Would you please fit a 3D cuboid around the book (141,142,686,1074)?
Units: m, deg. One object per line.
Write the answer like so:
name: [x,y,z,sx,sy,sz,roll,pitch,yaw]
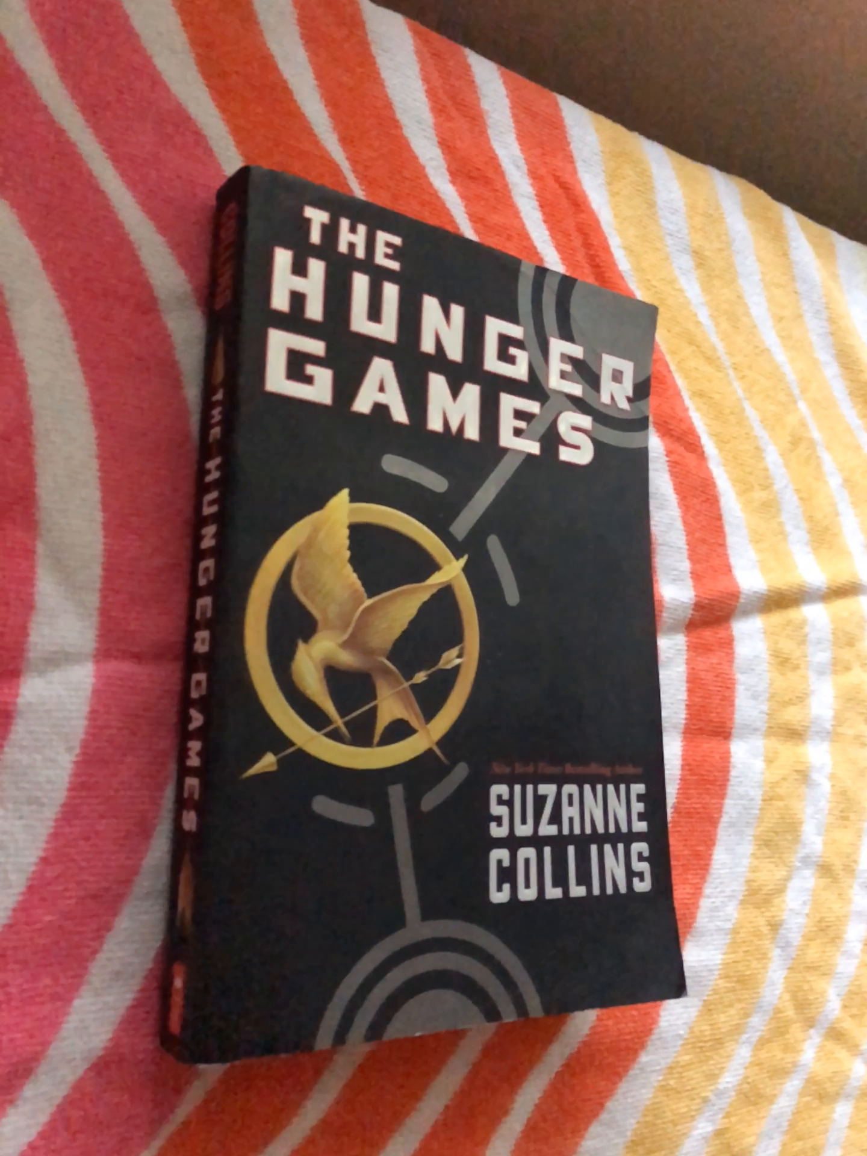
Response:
book: [0.004,0.008,0.256,0.138,0.037,0.200,8,79,-32]
